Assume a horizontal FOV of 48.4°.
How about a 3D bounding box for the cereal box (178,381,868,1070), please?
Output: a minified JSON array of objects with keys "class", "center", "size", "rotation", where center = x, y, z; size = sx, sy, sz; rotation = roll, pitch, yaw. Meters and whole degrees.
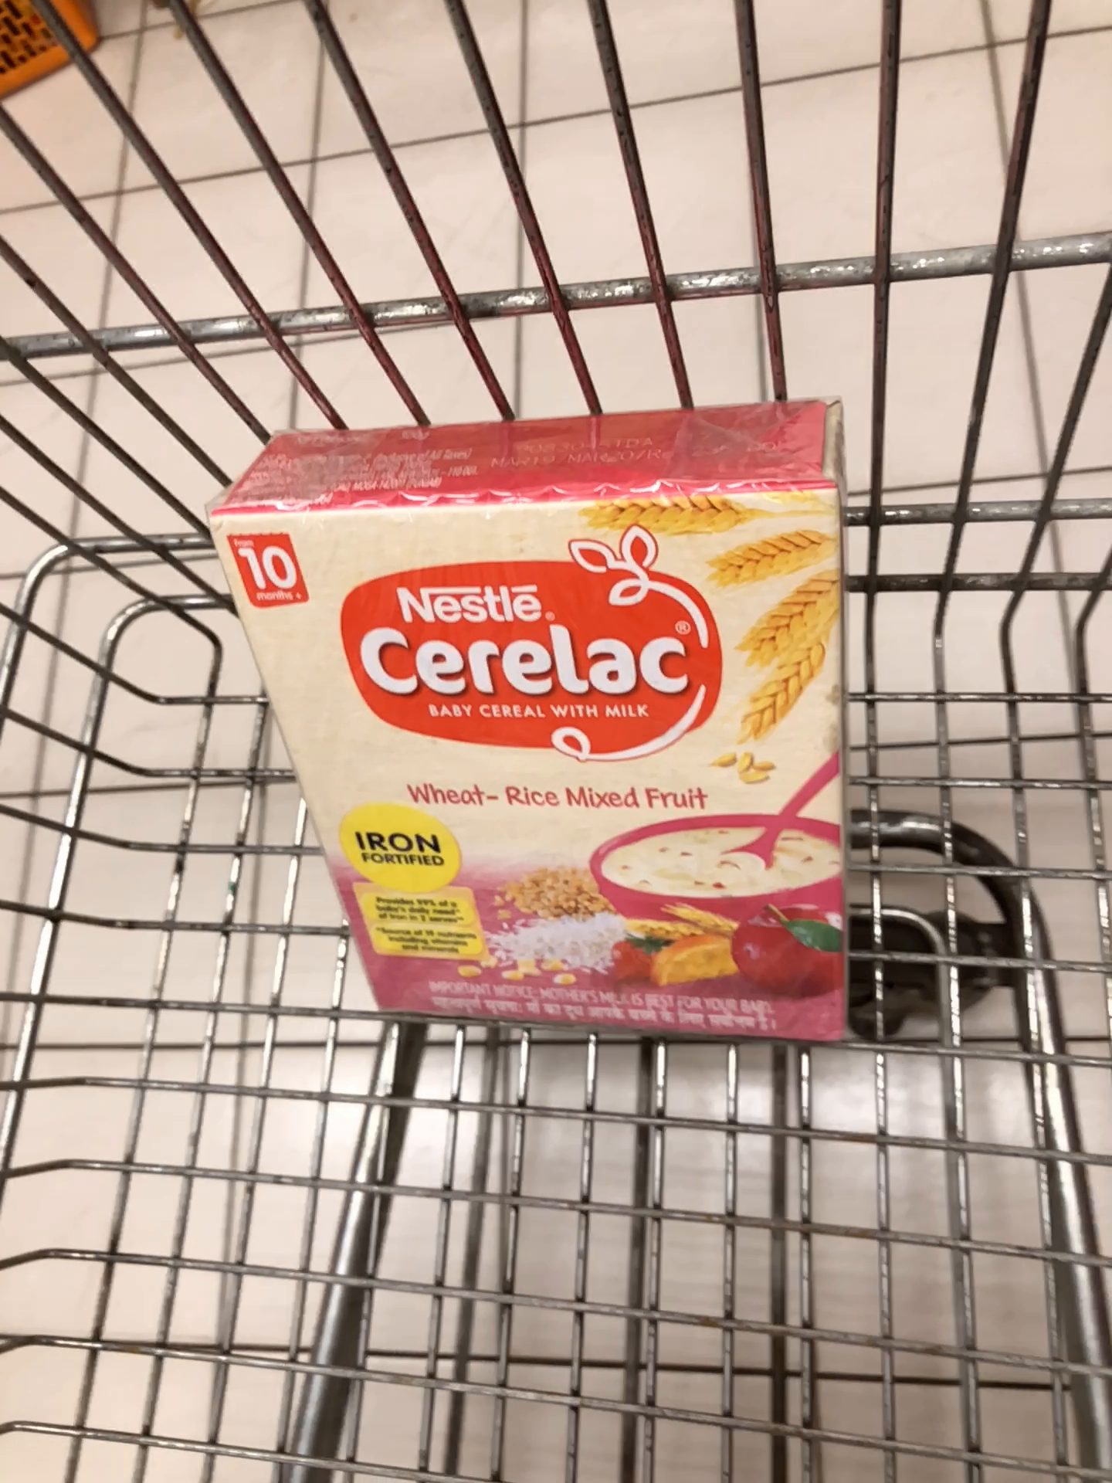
[{"class":"cereal box","center":[0.006,0.004,0.338],"size":[0.150,0.179,0.060],"rotation":[0,39,13]}]
